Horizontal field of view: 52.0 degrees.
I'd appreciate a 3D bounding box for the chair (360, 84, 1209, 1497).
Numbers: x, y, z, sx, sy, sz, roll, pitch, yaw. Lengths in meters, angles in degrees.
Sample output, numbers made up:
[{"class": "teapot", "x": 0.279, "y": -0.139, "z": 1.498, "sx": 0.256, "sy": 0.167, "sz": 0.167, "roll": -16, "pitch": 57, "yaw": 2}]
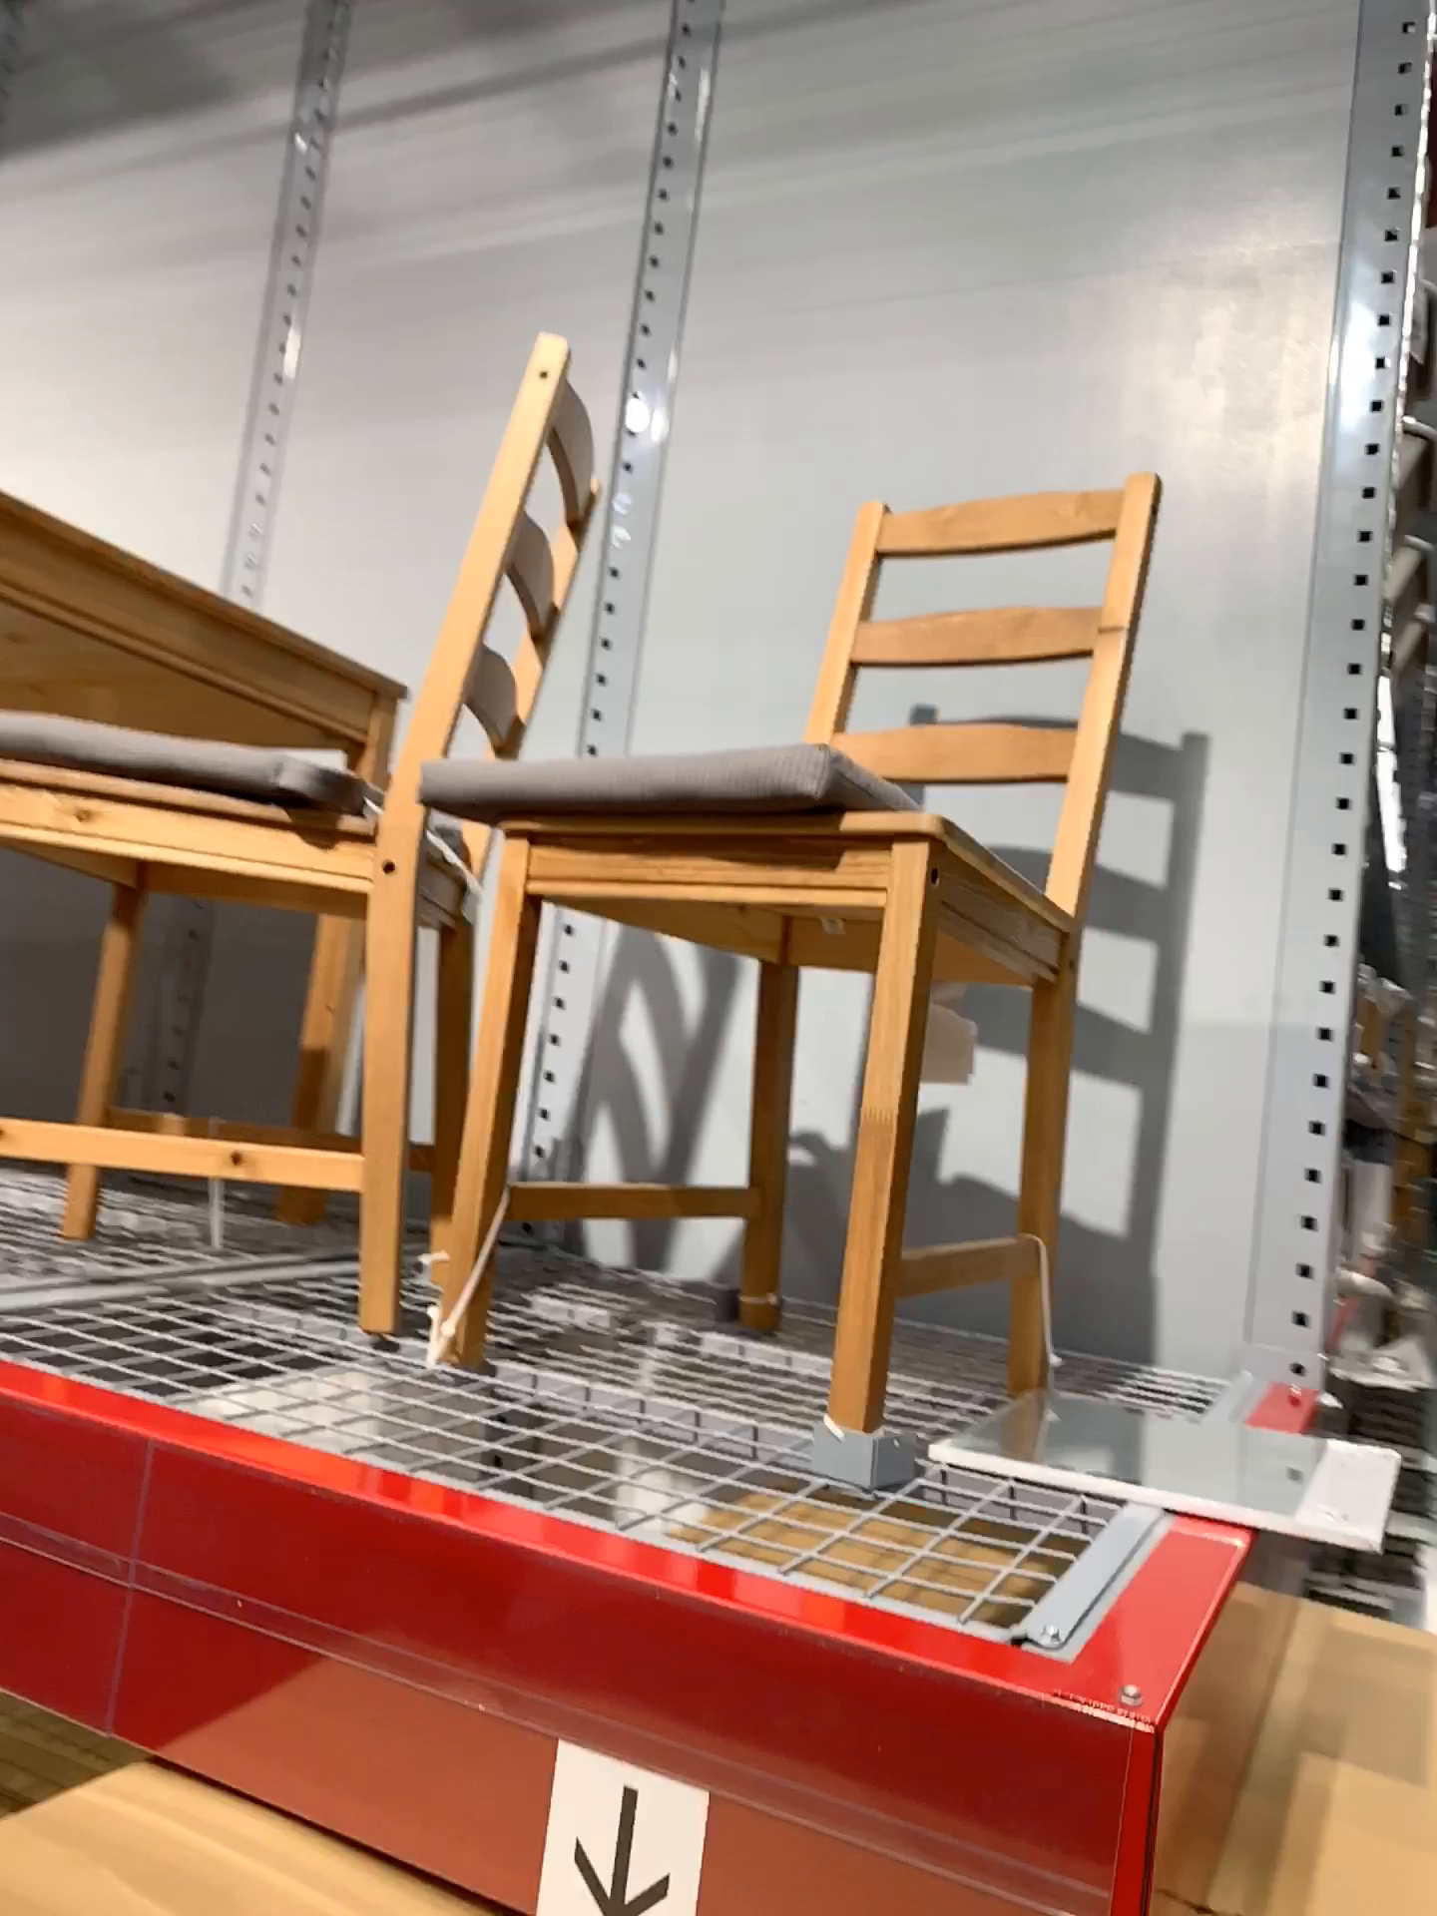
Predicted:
[{"class": "chair", "x": 0.098, "y": -0.109, "z": 1.255, "sx": 0.440, "sy": 0.911, "sz": 0.499, "roll": 4, "pitch": -6, "yaw": 30}]
